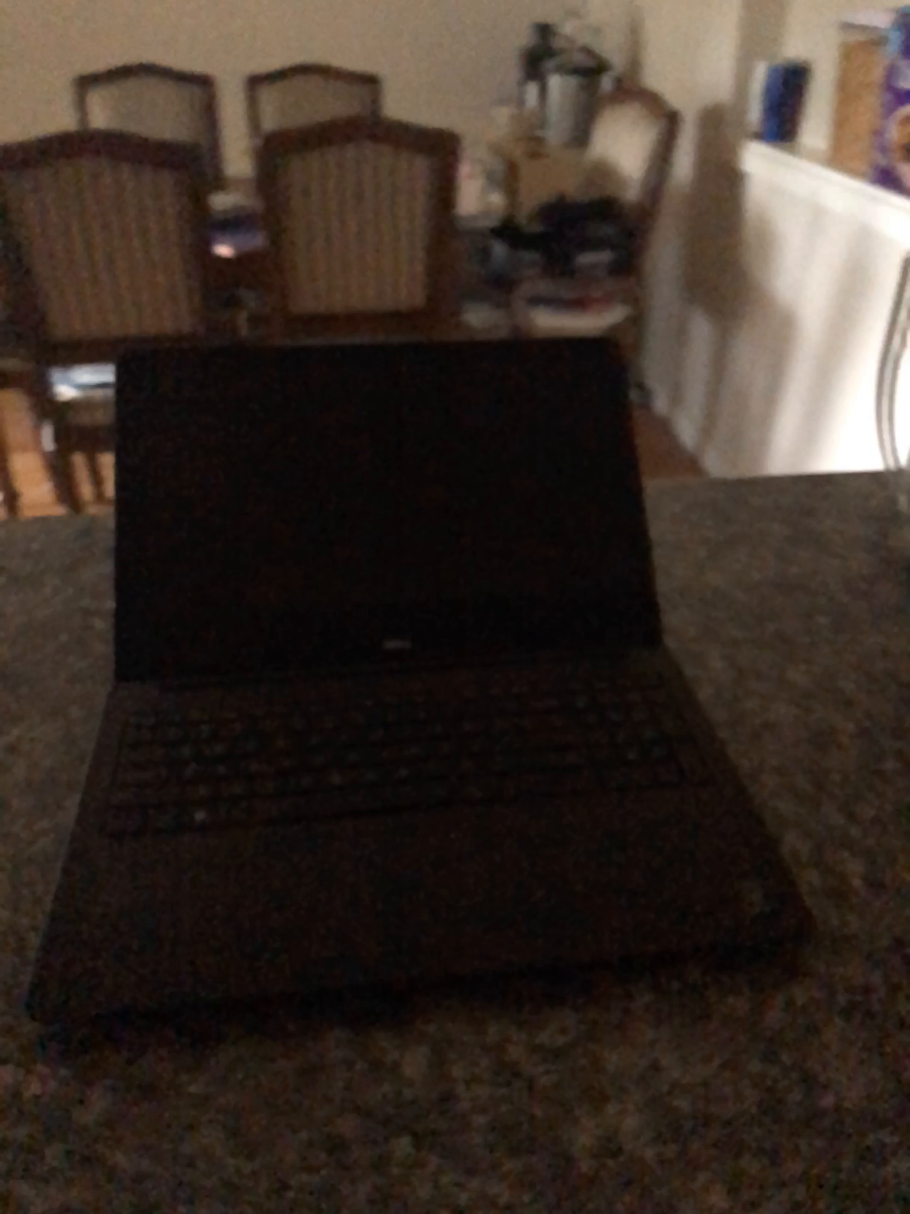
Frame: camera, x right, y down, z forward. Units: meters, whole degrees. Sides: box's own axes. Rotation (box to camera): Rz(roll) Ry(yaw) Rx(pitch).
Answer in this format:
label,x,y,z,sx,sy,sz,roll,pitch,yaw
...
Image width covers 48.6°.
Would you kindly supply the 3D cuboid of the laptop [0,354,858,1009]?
label,x,y,z,sx,sy,sz,roll,pitch,yaw
laptop,-0.040,-0.006,0.607,0.361,0.158,0.416,-3,32,-7
